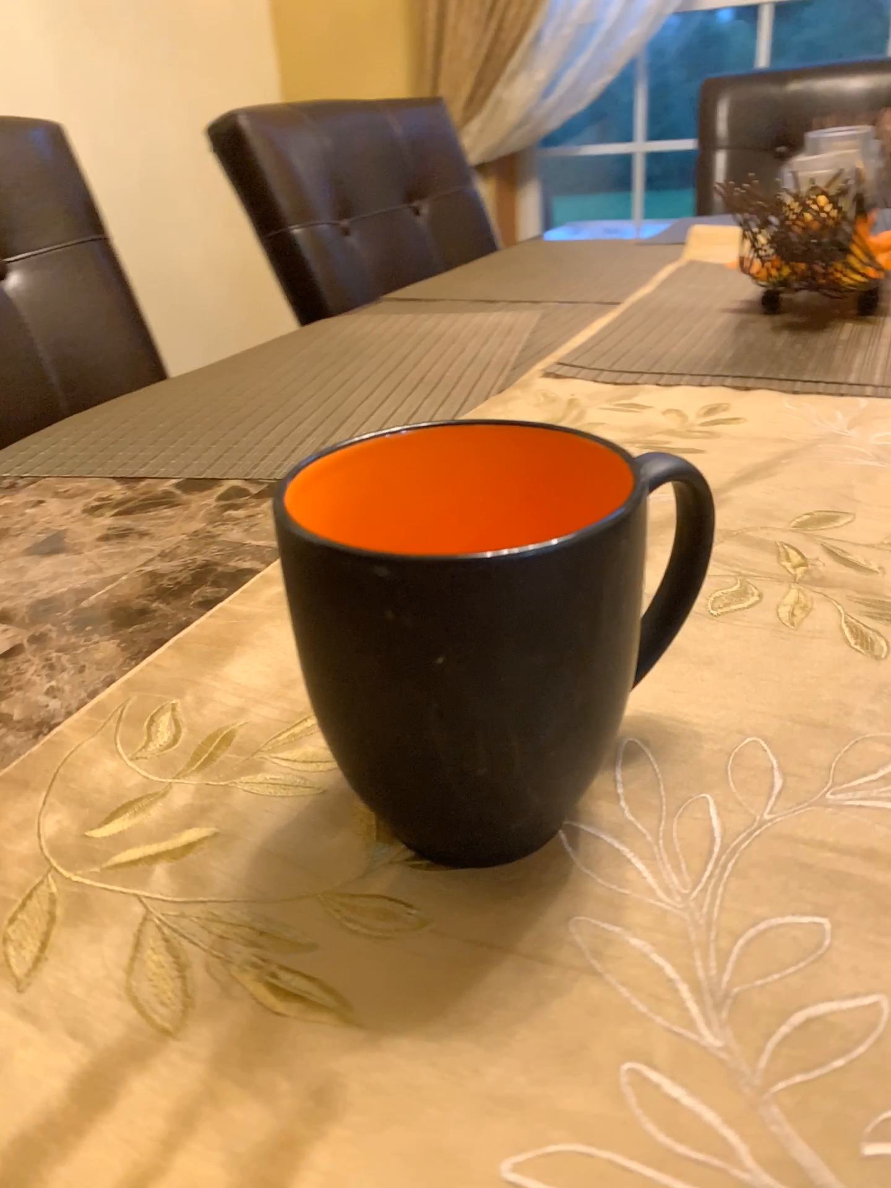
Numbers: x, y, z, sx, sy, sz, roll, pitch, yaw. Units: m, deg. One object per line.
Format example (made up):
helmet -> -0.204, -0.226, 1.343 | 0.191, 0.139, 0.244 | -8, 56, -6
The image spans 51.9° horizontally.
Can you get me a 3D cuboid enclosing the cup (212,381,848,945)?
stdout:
cup -> 0.021, 0.005, 0.259 | 0.133, 0.087, 0.100 | -18, 30, -24
